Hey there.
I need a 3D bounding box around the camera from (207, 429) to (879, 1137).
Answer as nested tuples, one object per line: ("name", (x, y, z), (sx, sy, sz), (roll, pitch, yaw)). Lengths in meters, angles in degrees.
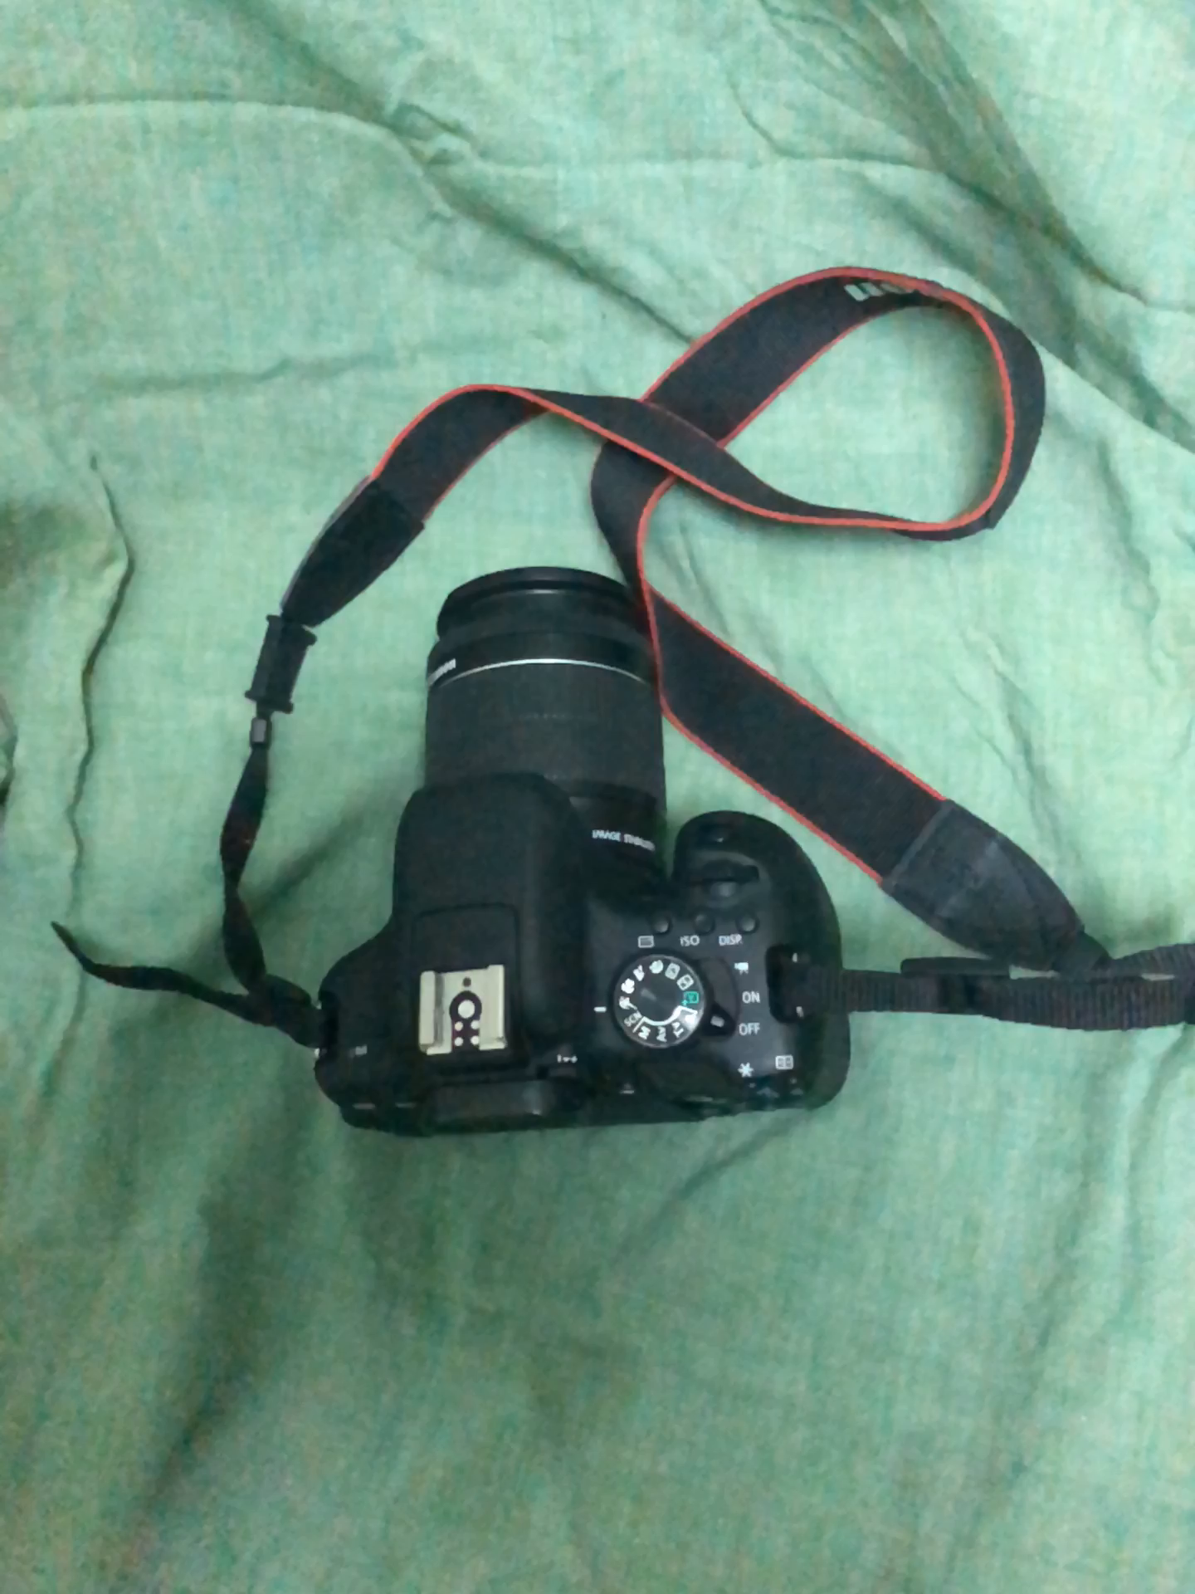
("camera", (-0.009, 0.007, 0.340), (0.142, 0.100, 0.144), (-7, 73, 10))
